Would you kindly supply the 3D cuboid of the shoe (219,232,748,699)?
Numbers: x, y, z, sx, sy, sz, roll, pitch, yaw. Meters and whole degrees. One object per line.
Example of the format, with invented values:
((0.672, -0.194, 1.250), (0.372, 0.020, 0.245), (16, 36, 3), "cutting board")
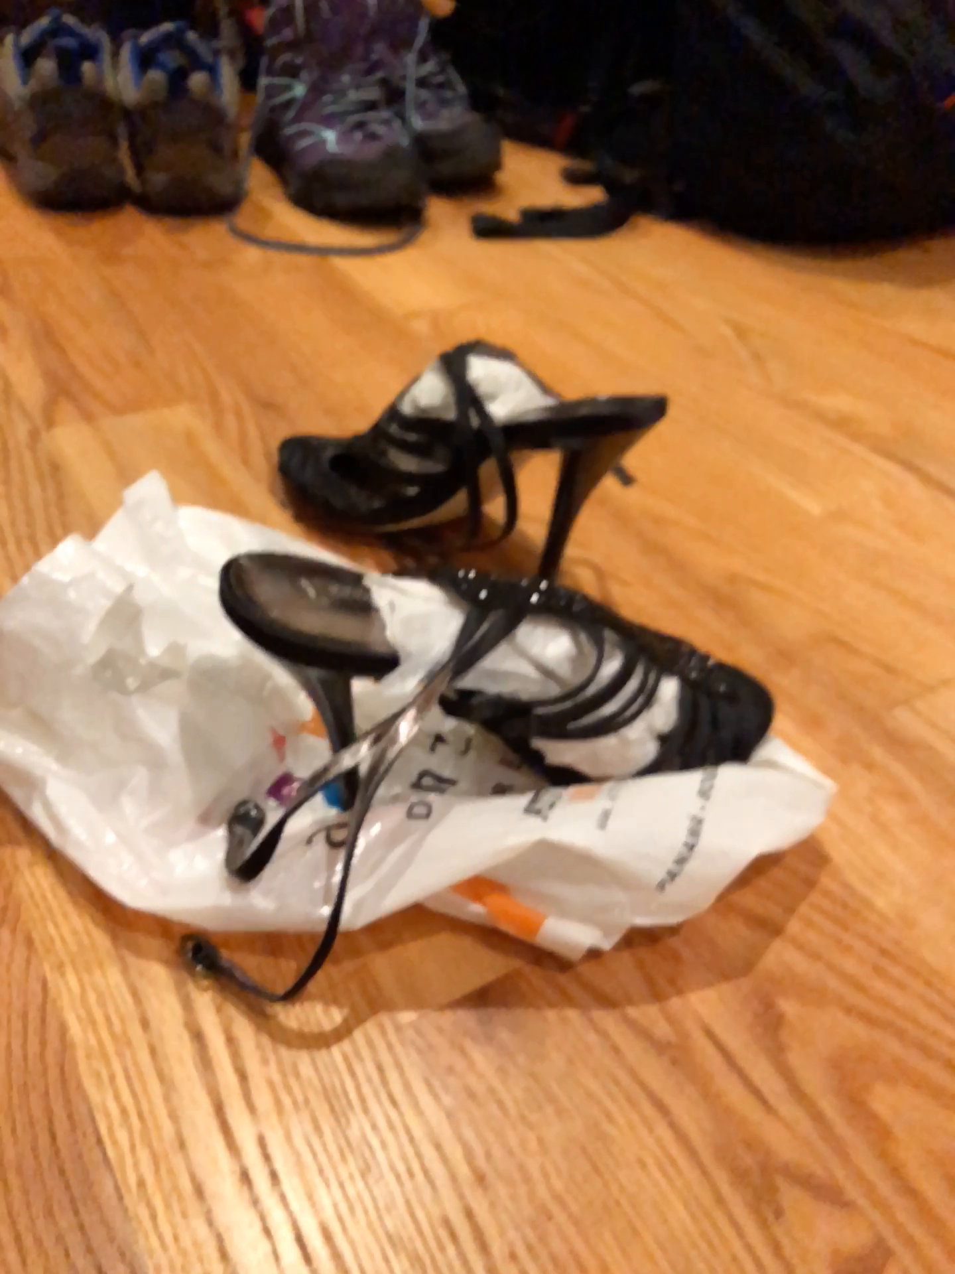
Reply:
((-0.008, -0.088, 0.488), (0.218, 0.112, 0.090), (31, 45, 28), "shoe")

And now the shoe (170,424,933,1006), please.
((0.022, 0.016, 0.363), (0.217, 0.112, 0.092), (-14, 43, -23), "shoe")
